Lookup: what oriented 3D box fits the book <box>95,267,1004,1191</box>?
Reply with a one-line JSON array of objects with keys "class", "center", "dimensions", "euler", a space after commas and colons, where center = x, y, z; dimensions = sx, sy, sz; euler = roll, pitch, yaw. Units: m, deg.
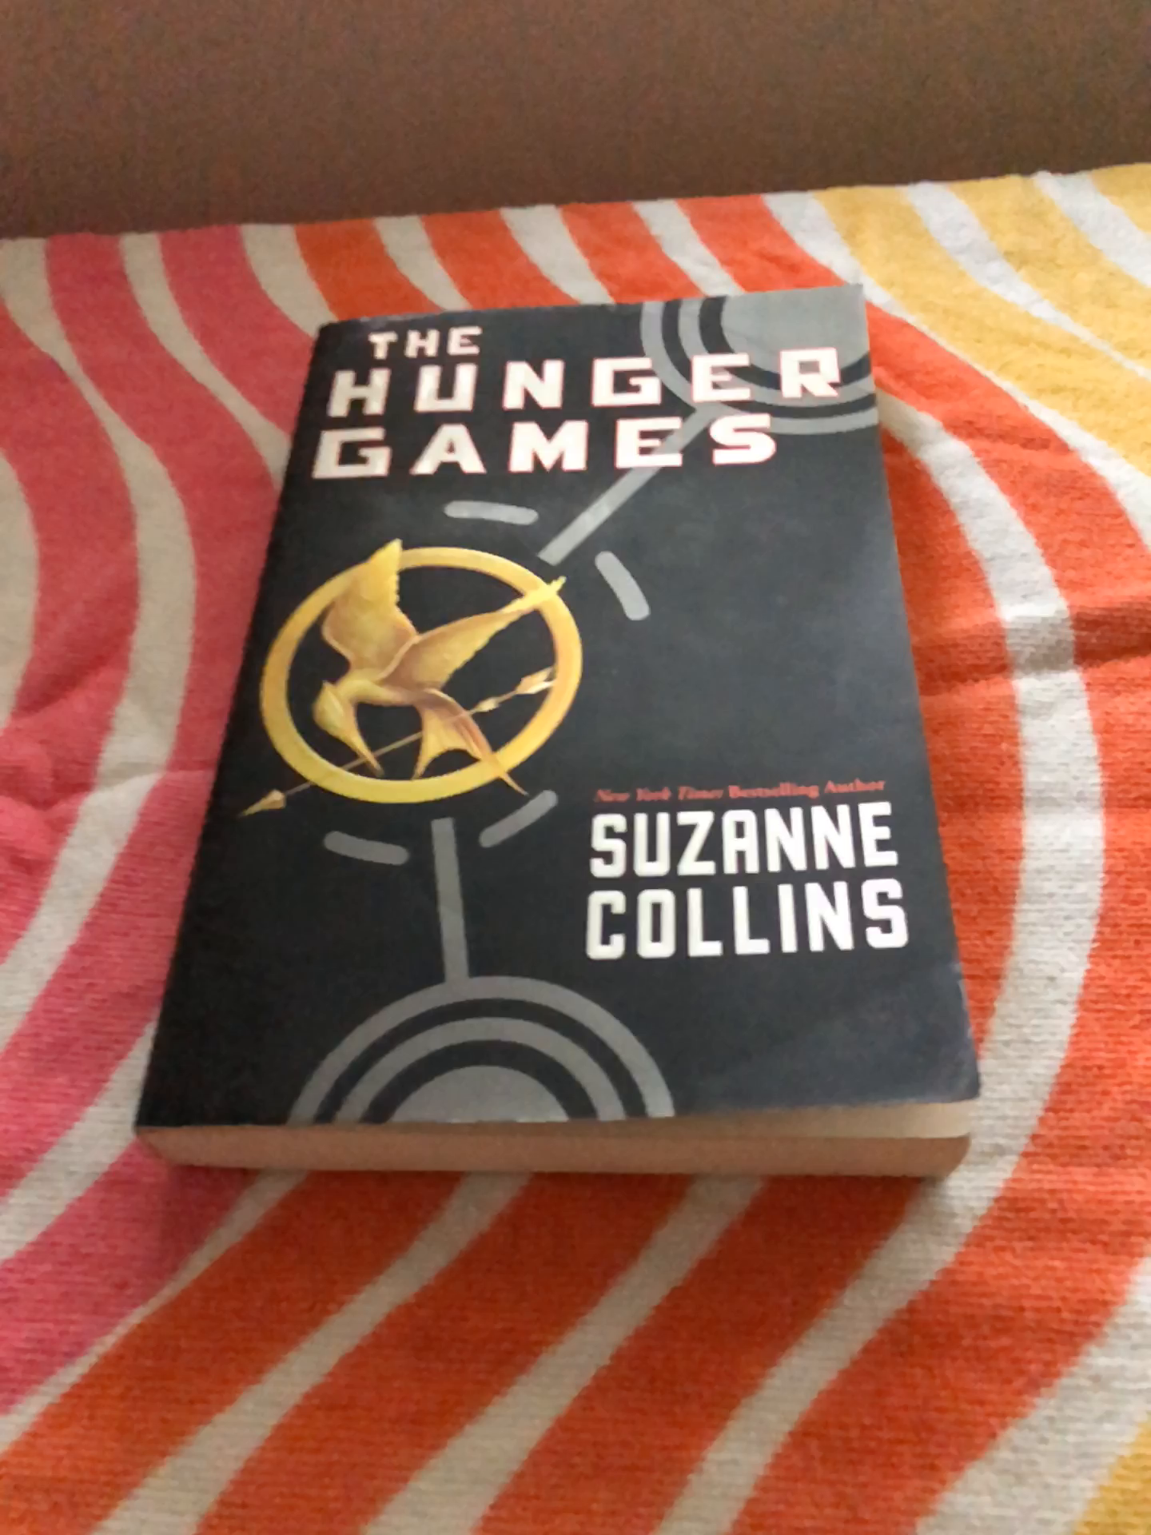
[{"class": "book", "center": [0.000, -0.021, 0.262], "dimensions": [0.138, 0.037, 0.201], "euler": [-1, 56, 6]}]
